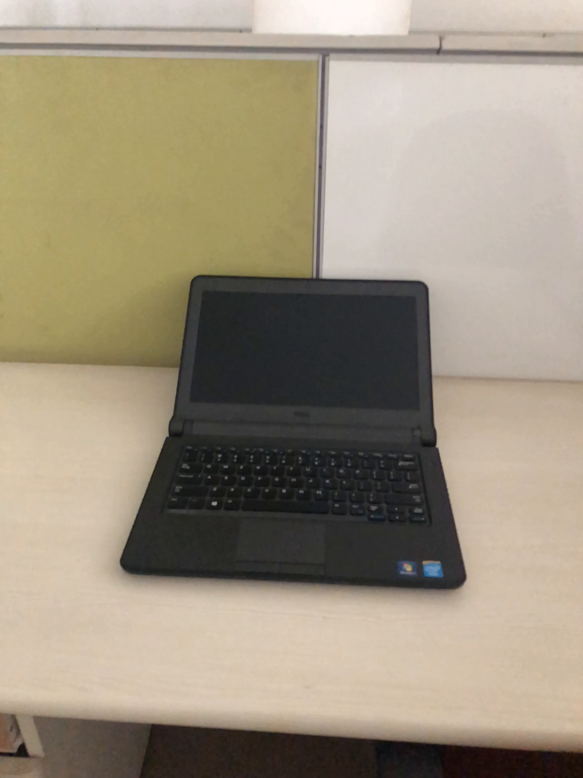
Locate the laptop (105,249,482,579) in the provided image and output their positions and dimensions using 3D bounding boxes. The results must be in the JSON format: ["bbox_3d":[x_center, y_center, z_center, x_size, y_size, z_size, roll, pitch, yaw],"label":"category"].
[{"bbox_3d":[0.011,-0.009,0.731,0.316,0.122,0.418,2,35,3],"label":"laptop"}]
